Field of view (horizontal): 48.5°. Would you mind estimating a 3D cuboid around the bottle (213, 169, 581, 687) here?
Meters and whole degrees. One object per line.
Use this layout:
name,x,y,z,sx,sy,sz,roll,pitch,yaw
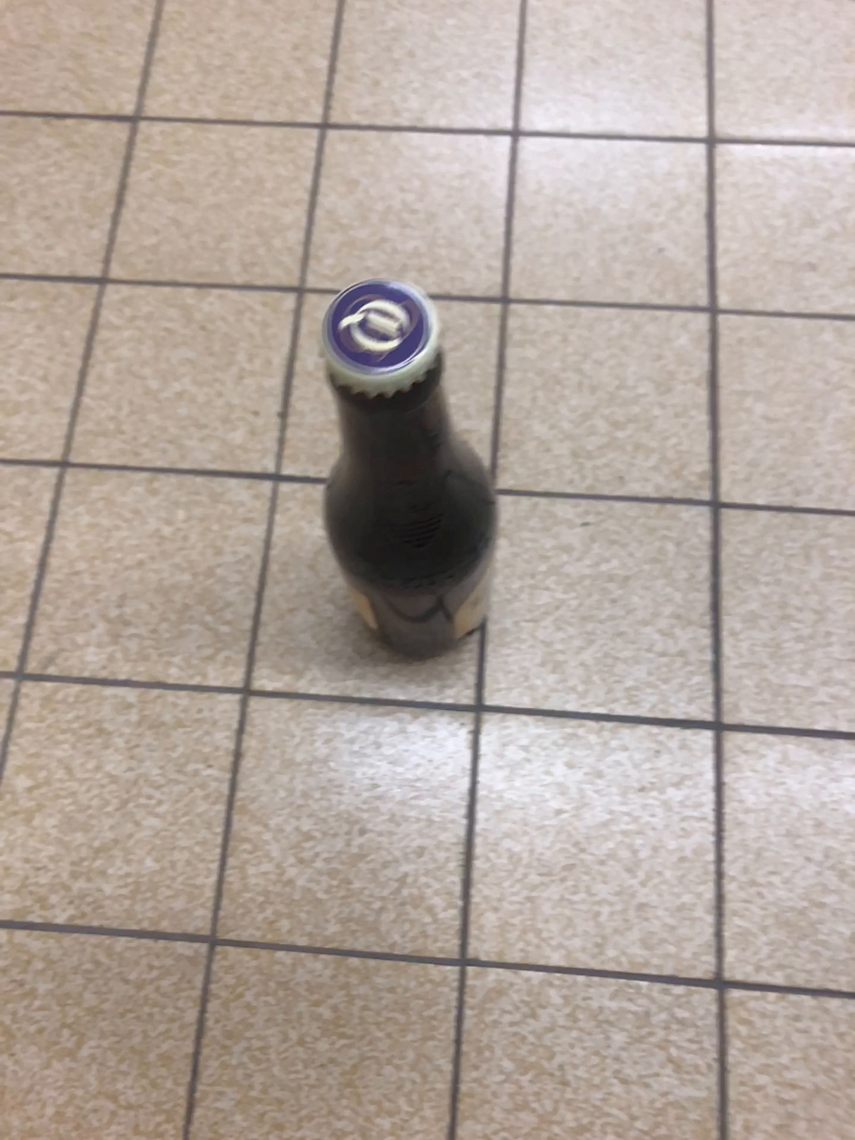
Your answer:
bottle,-0.004,-0.021,0.314,0.070,0.220,0.070,-1,73,2
